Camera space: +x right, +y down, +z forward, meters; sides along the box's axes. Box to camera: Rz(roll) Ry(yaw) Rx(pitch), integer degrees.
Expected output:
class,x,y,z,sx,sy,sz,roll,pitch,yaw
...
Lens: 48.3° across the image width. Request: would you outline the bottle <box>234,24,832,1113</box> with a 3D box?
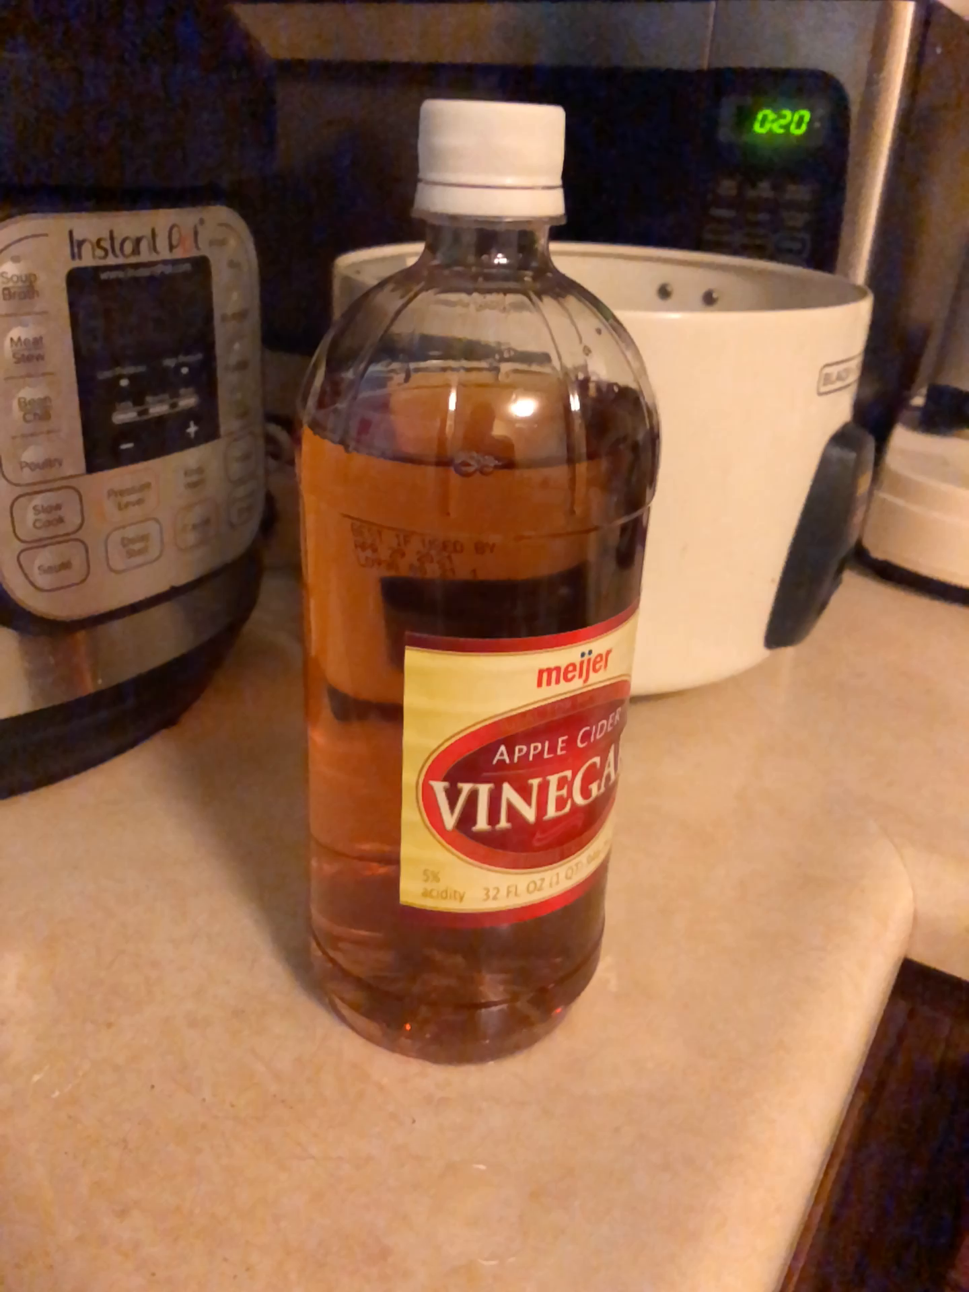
class,x,y,z,sx,sy,sz,roll,pitch,yaw
bottle,0.003,-0.015,0.266,0.090,0.229,0.080,-14,30,-31
